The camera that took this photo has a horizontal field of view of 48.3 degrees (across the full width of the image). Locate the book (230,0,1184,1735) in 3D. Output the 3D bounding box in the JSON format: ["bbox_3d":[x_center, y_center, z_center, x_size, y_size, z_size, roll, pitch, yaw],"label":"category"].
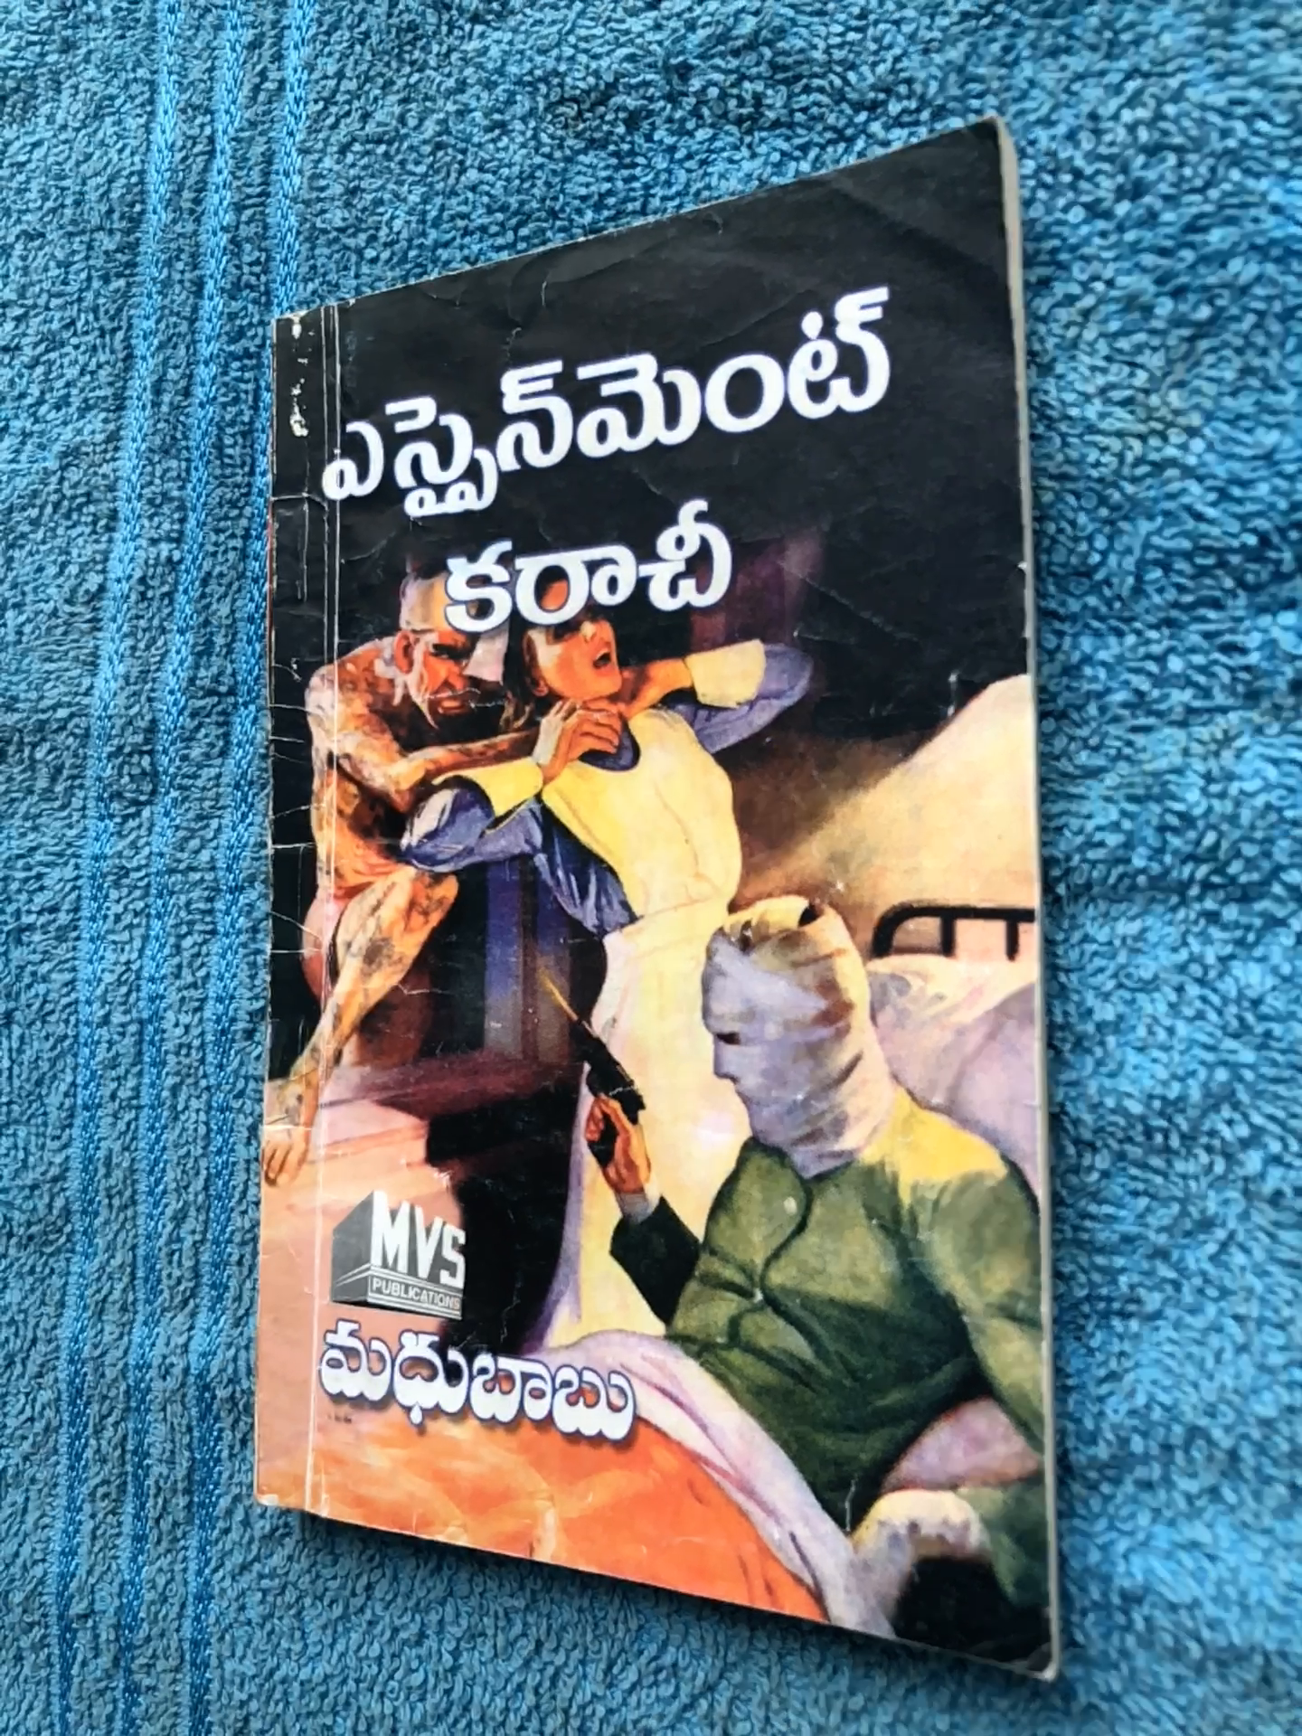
[{"bbox_3d":[0.001,-0.001,0.172,0.110,0.020,0.170,-2,86,26],"label":"book"}]
